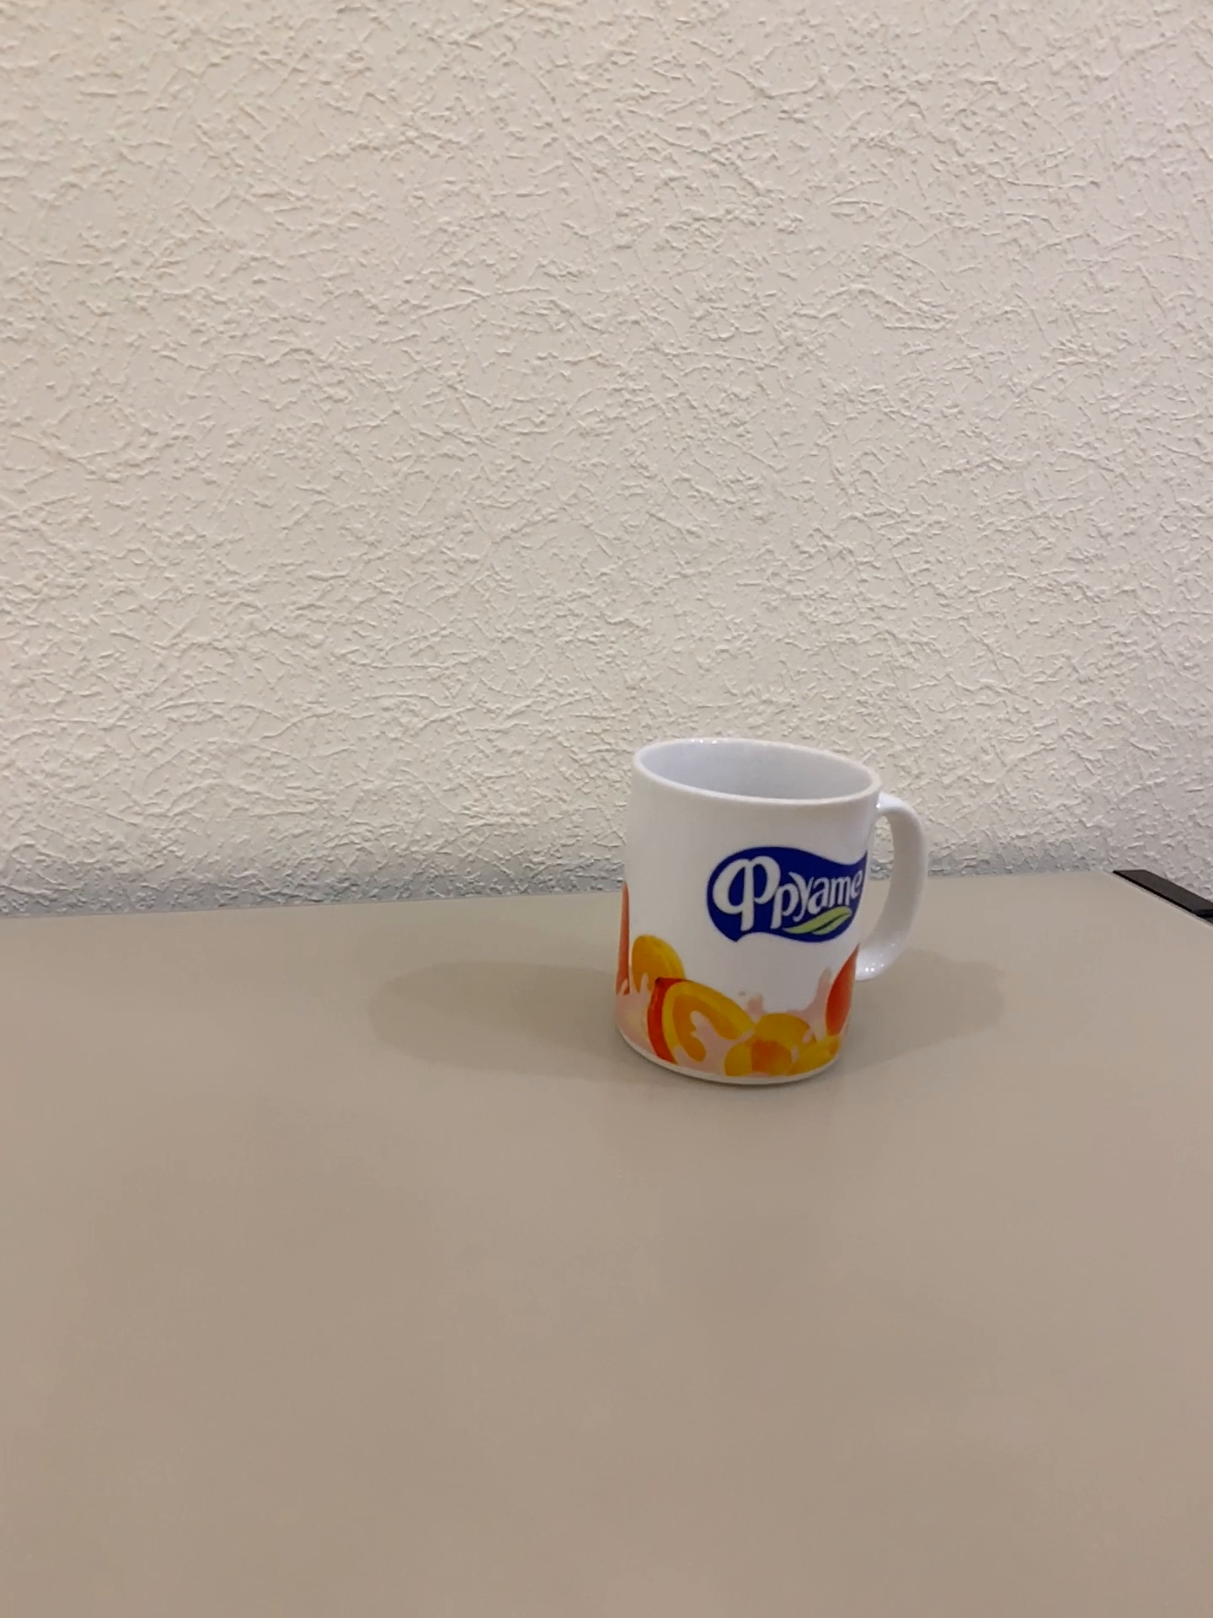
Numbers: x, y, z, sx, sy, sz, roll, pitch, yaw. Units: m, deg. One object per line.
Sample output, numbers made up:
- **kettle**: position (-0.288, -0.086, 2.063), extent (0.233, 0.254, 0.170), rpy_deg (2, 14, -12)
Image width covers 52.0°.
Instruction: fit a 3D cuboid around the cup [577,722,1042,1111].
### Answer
- **cup**: position (0.064, 0.028, 0.409), extent (0.116, 0.092, 0.081), rpy_deg (-5, 18, -29)
